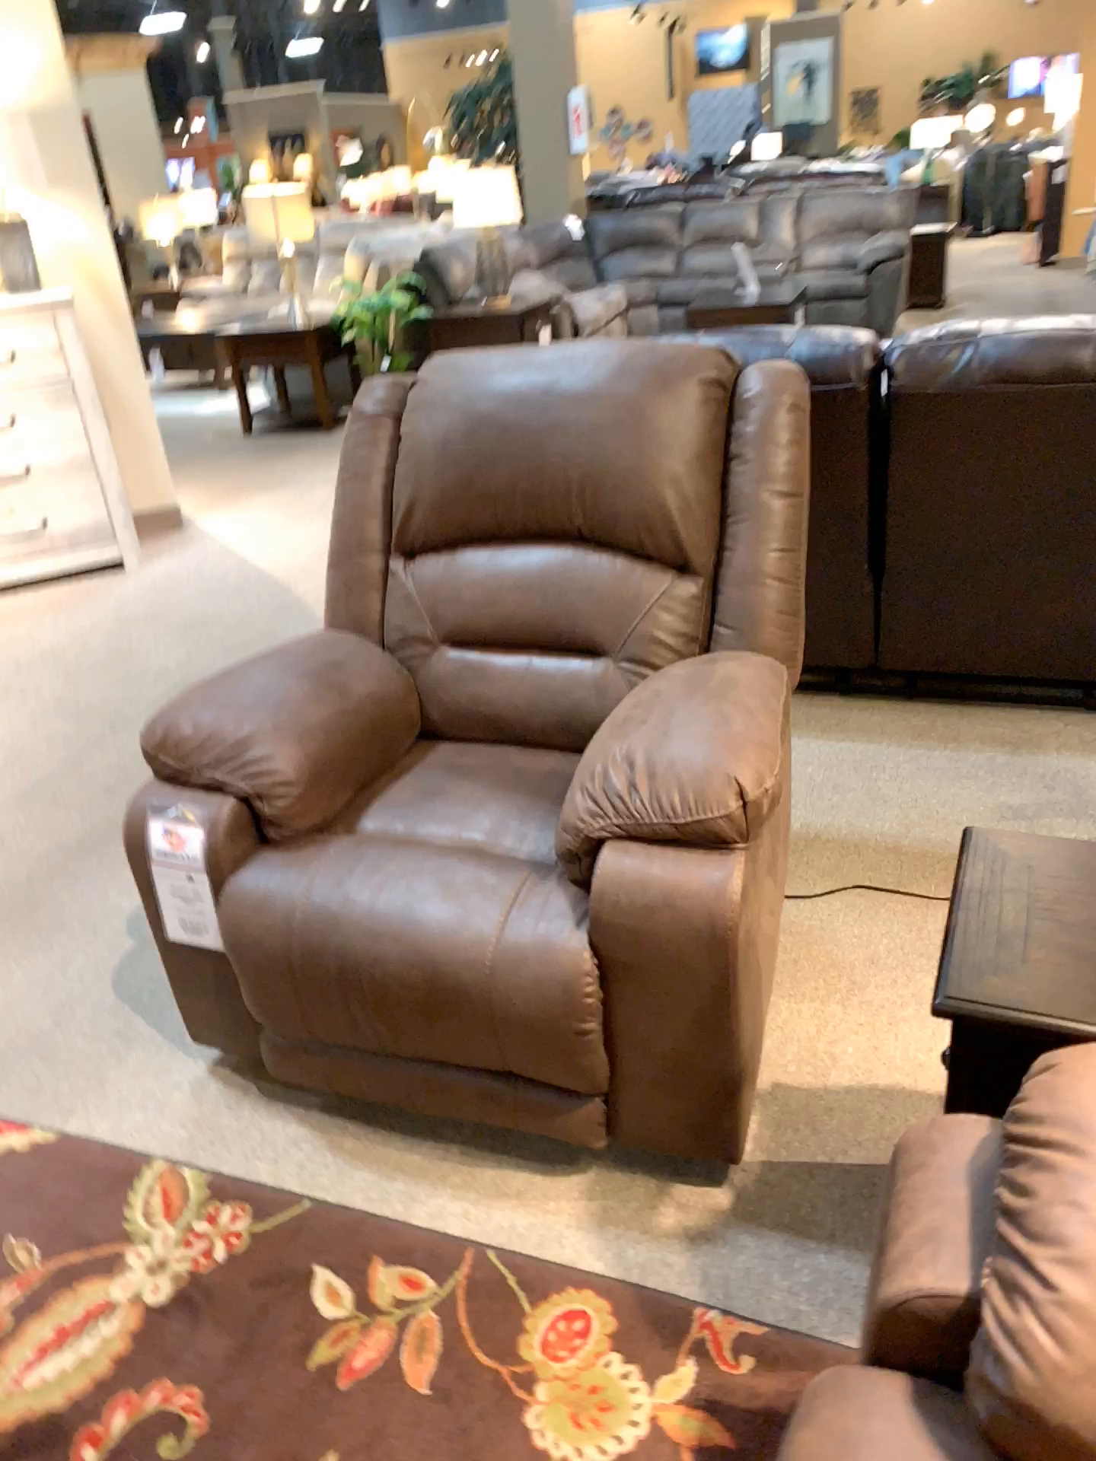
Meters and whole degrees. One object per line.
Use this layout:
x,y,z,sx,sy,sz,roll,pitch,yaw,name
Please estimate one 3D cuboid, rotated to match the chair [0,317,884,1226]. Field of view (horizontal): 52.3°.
-0.031,-0.067,1.928,1.002,1.027,1.068,6,29,22,chair
